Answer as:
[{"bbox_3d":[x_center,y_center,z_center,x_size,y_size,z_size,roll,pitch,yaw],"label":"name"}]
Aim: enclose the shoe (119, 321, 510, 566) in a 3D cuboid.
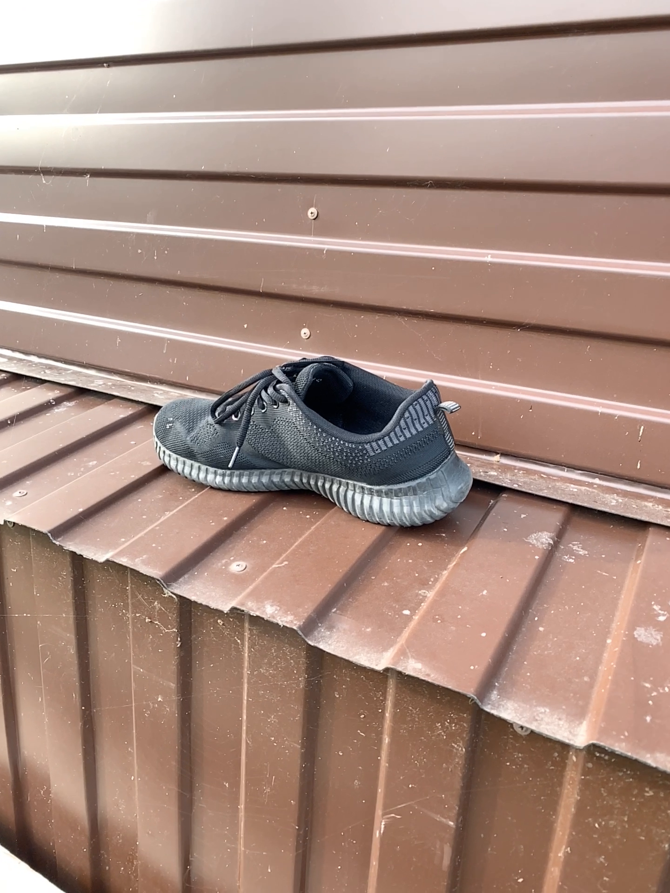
[{"bbox_3d":[-0.019,-0.018,0.588,0.300,0.119,0.121,11,29,24],"label":"shoe"}]
